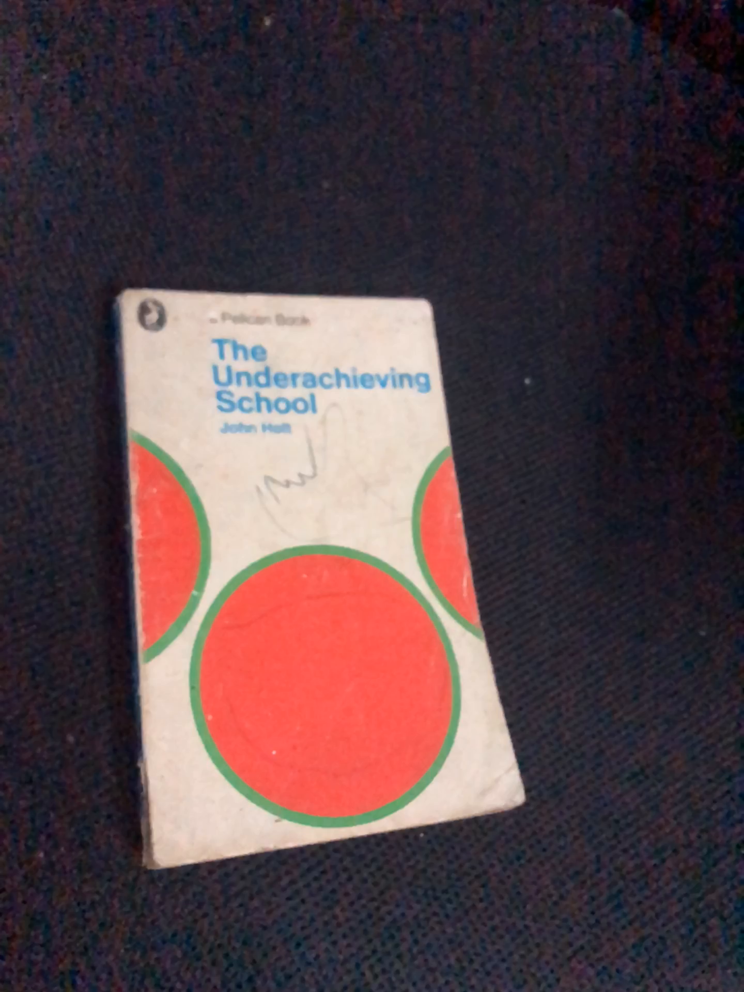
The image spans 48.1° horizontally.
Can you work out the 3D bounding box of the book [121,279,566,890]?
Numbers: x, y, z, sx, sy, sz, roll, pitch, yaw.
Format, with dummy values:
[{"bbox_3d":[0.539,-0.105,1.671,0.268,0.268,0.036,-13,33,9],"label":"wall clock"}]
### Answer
[{"bbox_3d":[-0.014,0.017,0.269,0.120,0.020,0.182,-1,69,-20],"label":"book"}]
